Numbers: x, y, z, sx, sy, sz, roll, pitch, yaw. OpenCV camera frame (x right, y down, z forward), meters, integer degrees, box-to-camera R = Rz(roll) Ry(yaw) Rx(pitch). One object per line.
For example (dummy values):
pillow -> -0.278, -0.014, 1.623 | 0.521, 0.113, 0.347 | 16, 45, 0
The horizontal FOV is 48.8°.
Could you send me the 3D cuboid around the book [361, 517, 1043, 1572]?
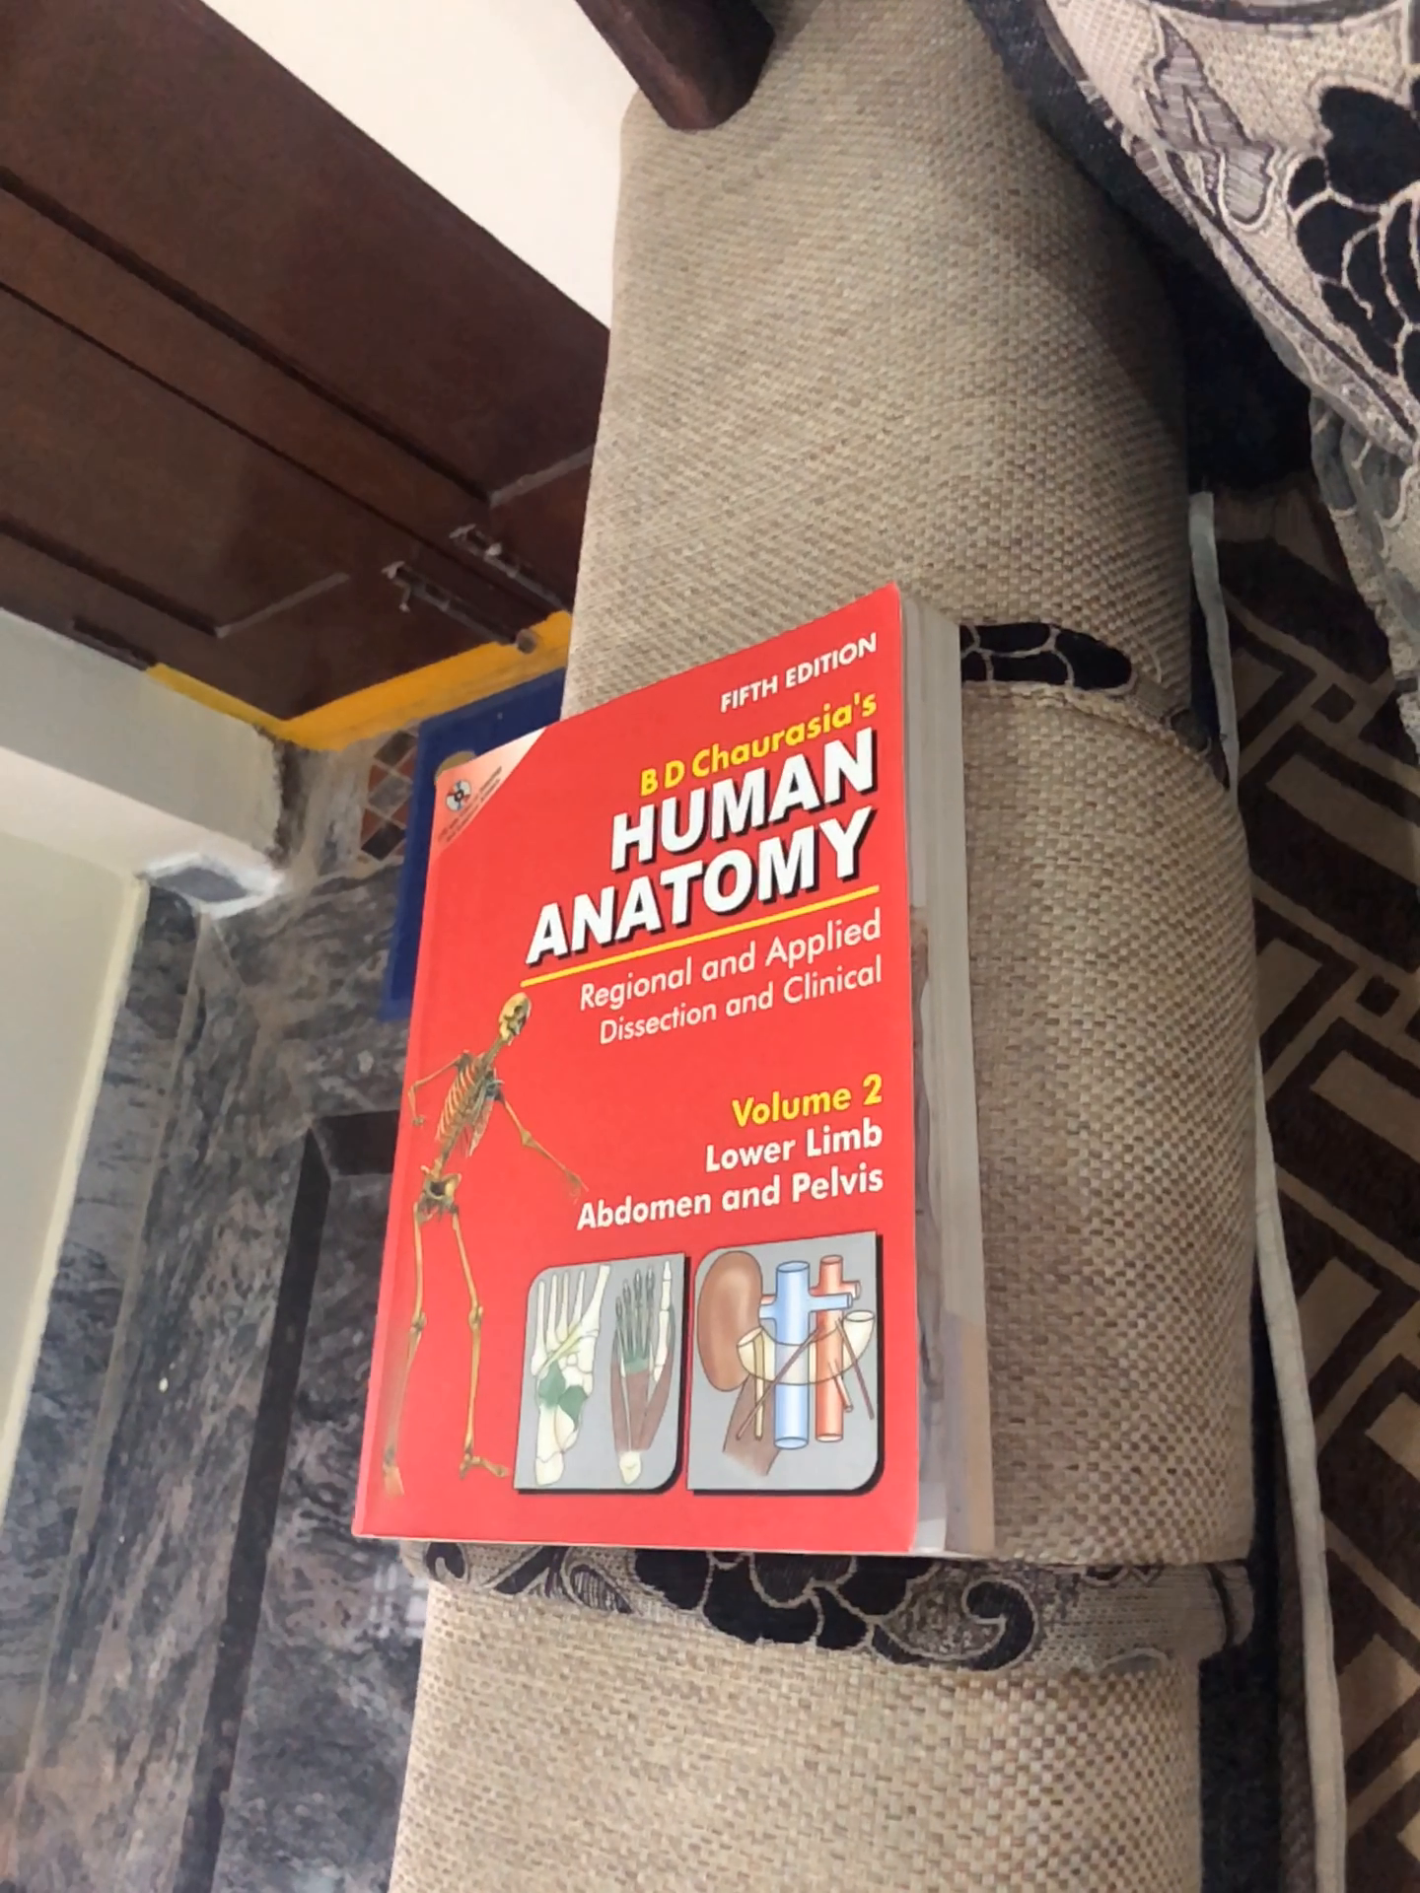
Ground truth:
book -> -0.009, 0.037, 0.495 | 0.221, 0.040, 0.290 | -16, 62, 38
